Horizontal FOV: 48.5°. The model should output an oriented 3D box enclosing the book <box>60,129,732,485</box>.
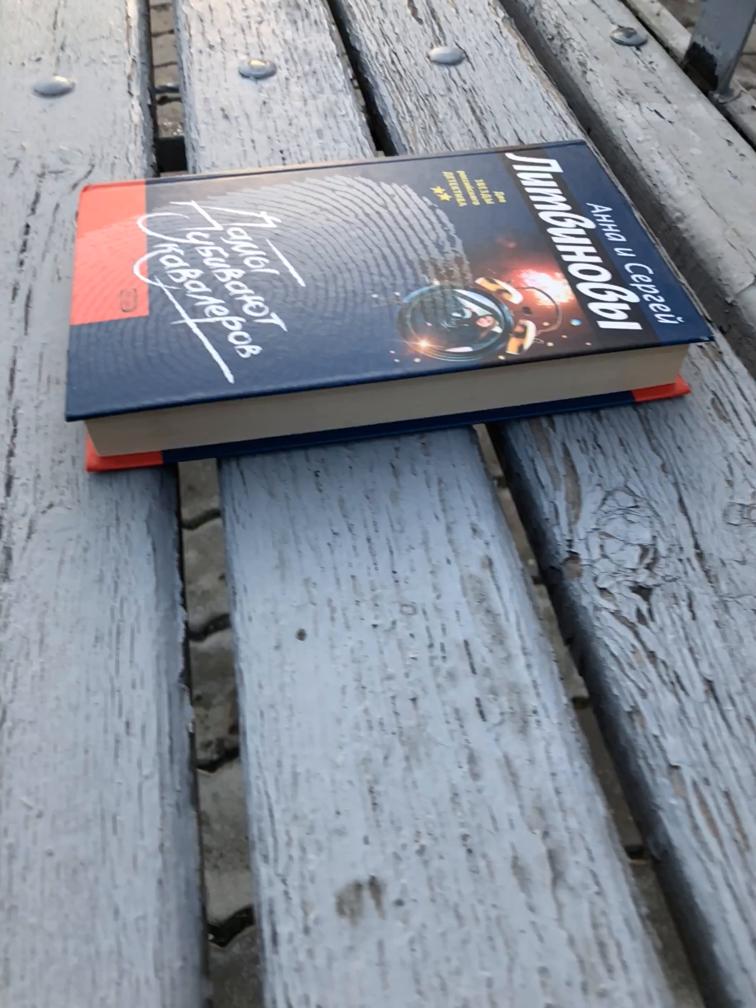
[{"bbox_3d":[-0.002,-0.080,0.306,0.208,0.030,0.131,-8,52,-6],"label":"book"}]
